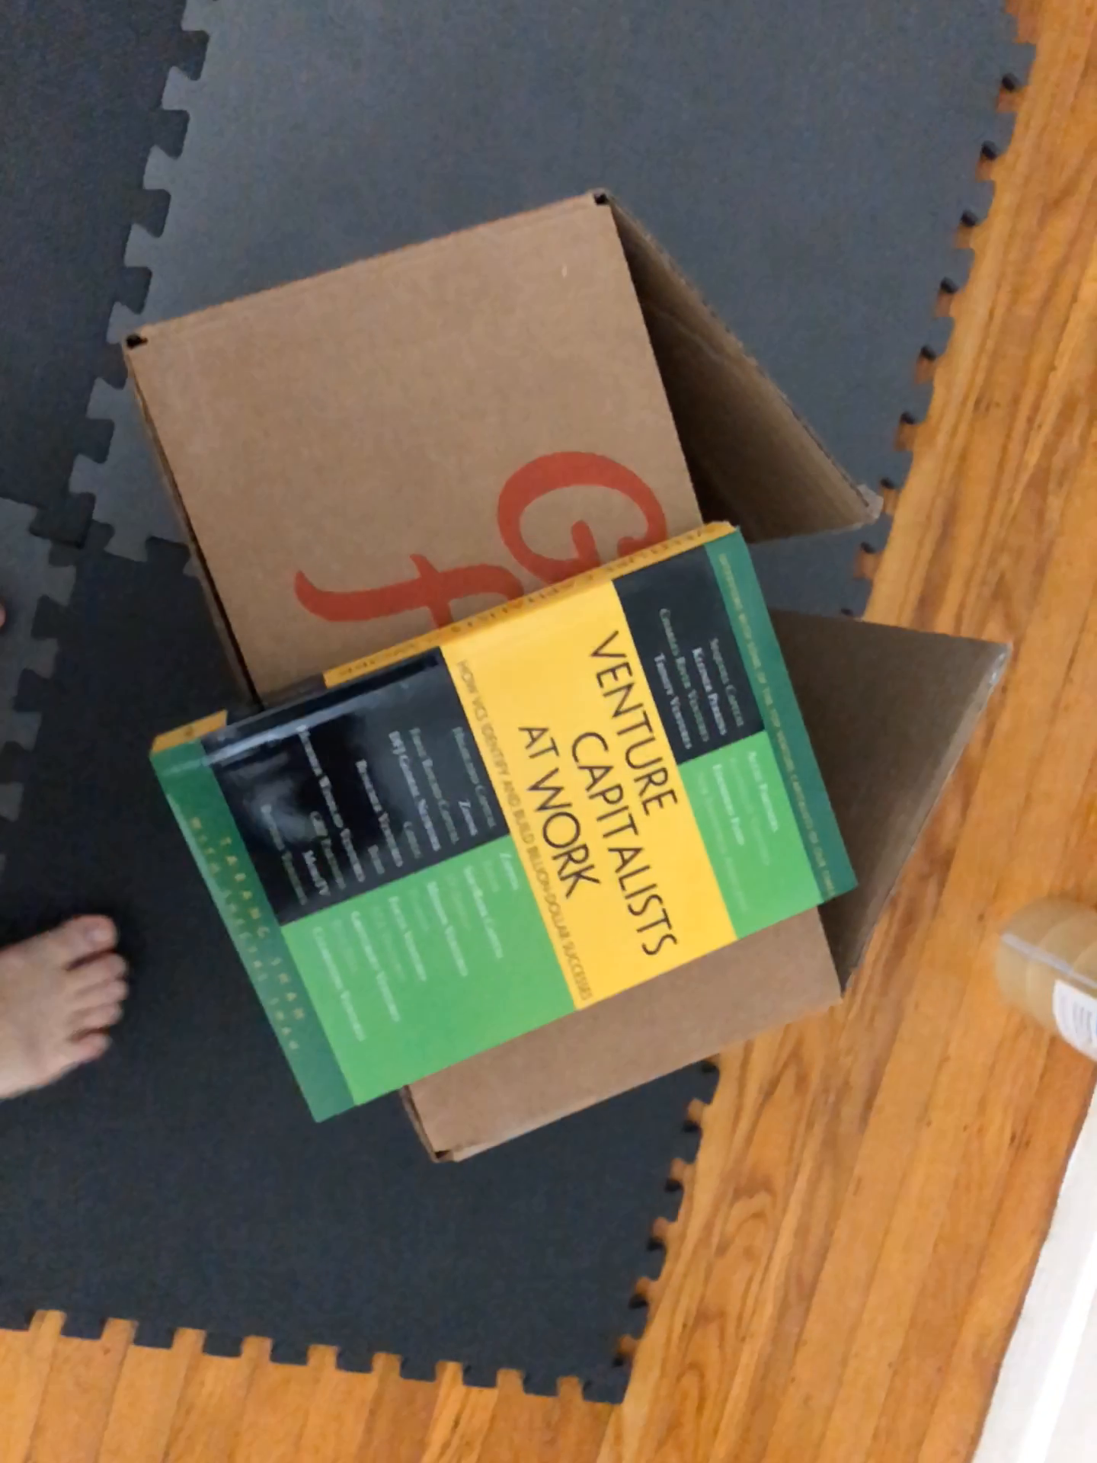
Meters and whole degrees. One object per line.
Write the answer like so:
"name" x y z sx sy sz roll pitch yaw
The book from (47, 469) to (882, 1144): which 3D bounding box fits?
"book" -0.023 0.024 0.453 0.260 0.040 0.160 -21 102 -7
